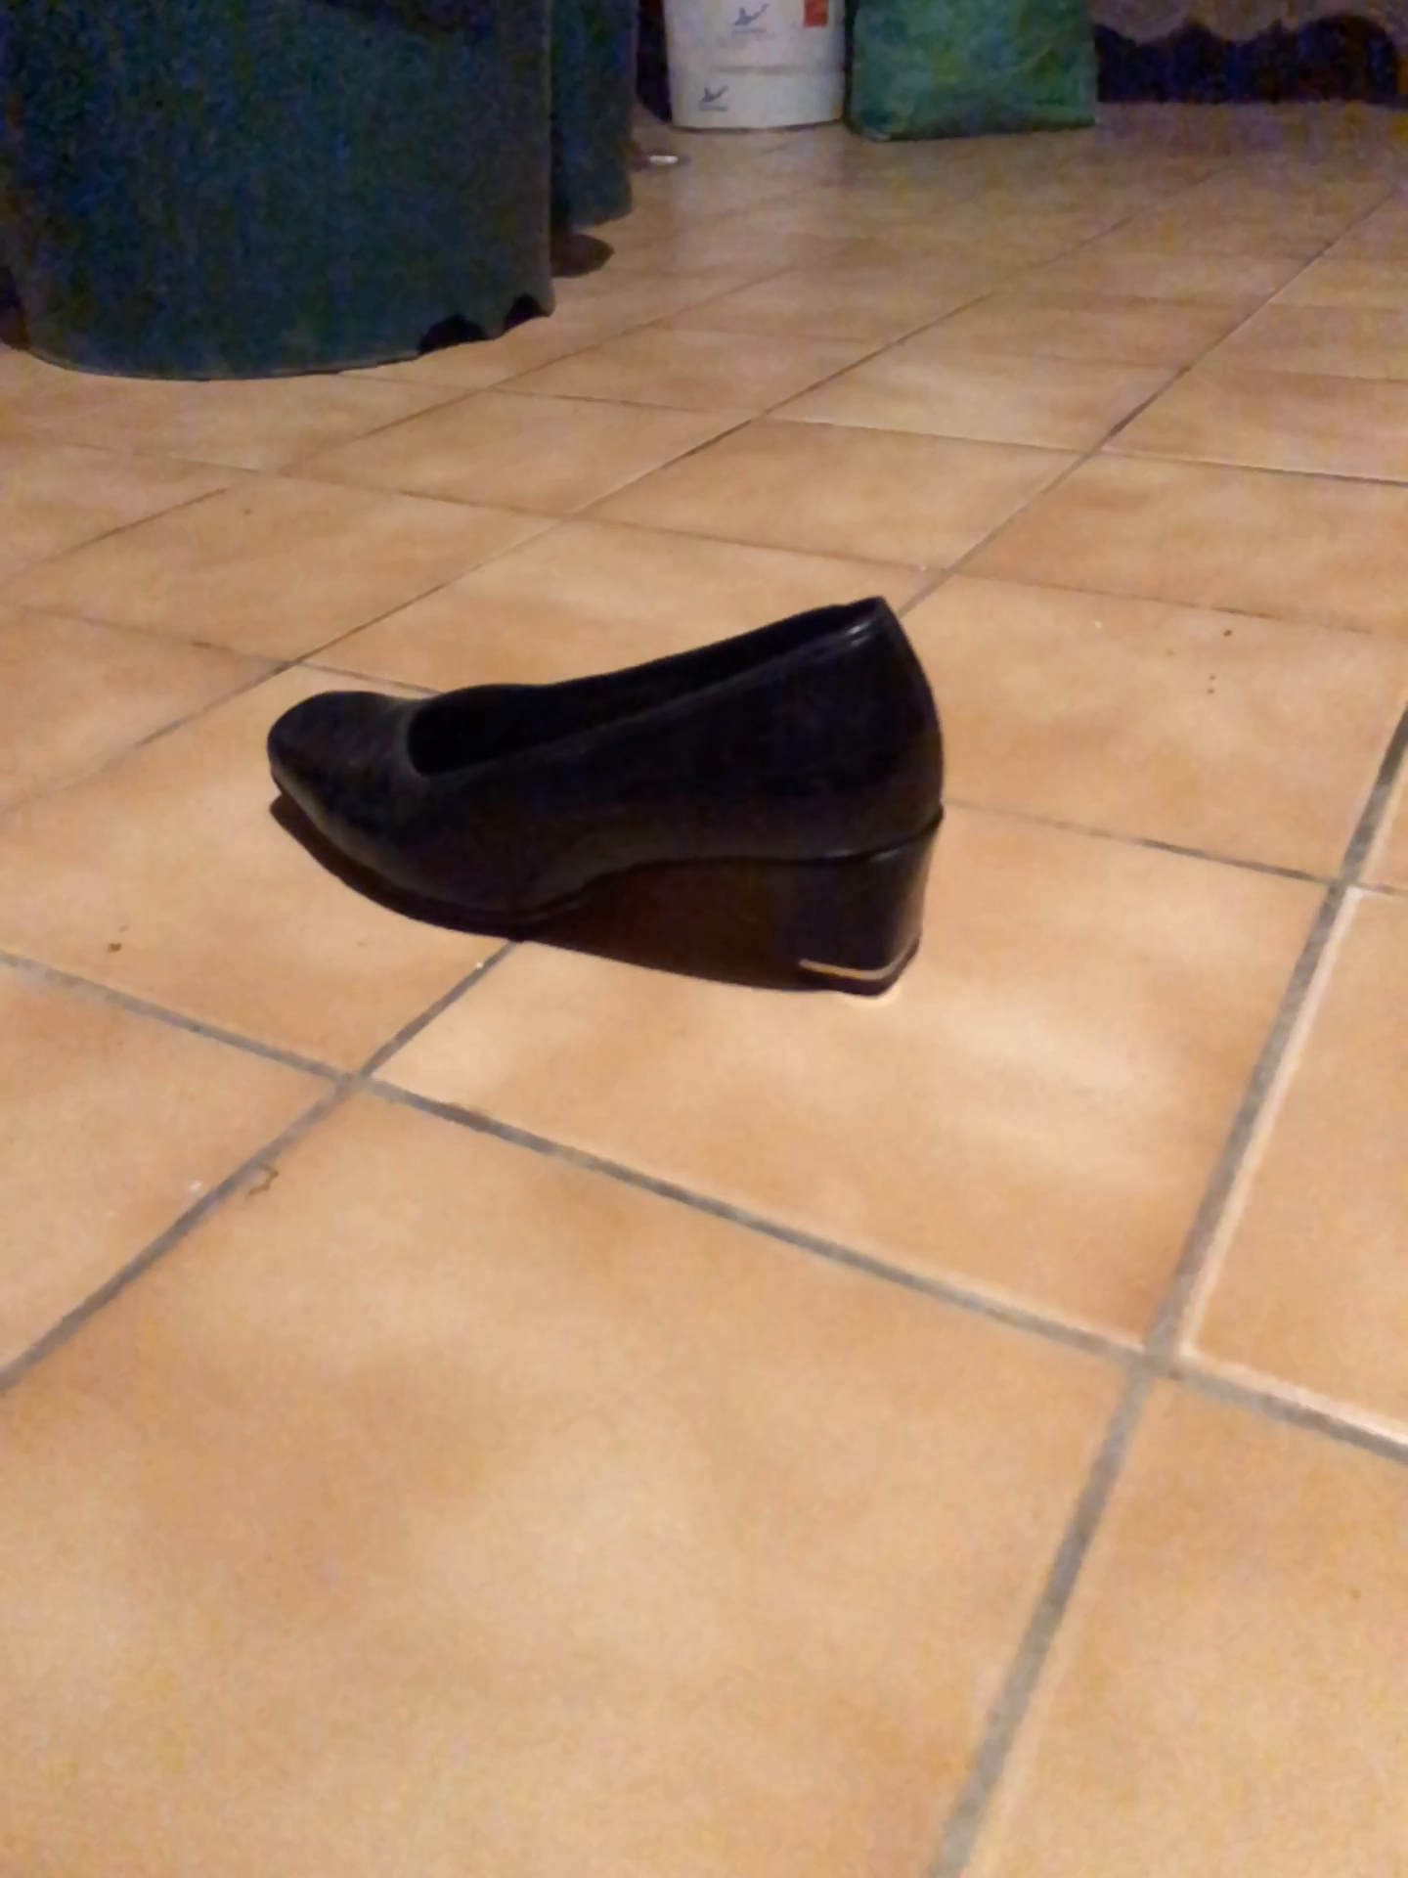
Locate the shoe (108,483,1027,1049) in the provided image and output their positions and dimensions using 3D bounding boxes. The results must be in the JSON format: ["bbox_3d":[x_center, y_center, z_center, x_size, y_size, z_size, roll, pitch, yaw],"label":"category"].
[{"bbox_3d":[-0.043,-0.065,0.461,0.250,0.089,0.101,16,37,27],"label":"shoe"}]
